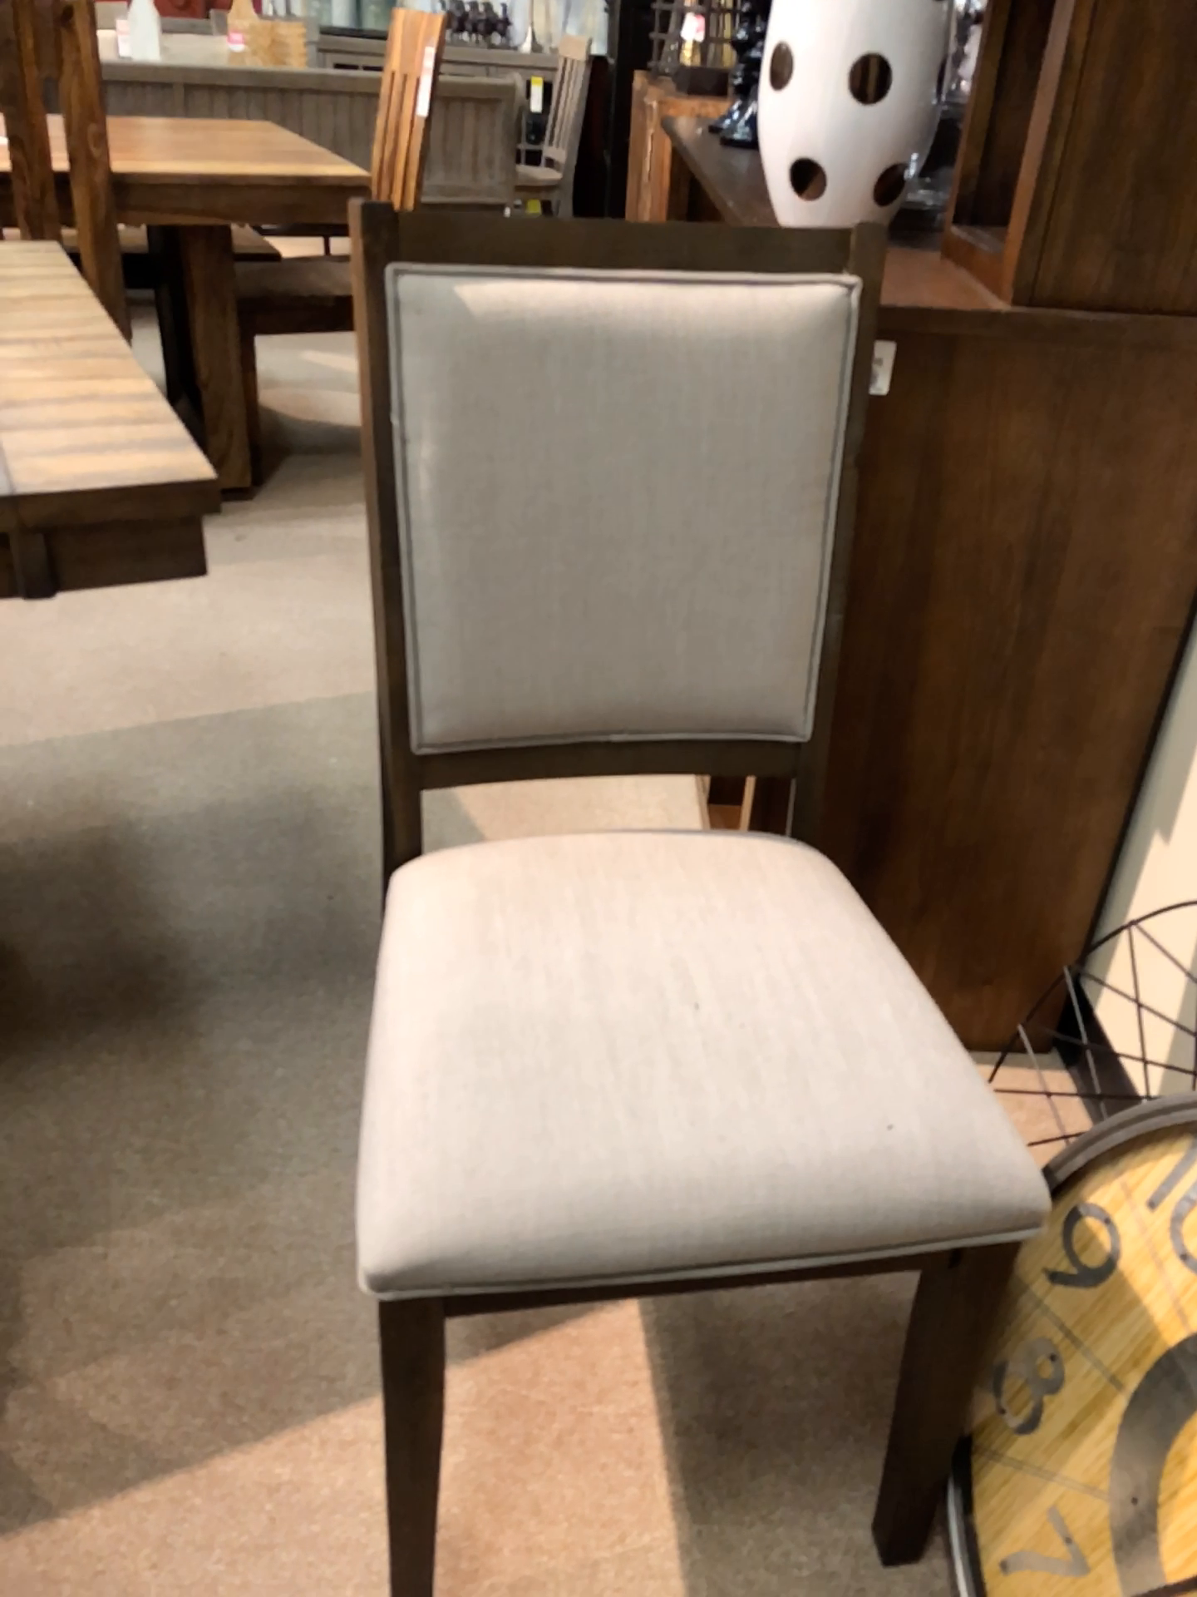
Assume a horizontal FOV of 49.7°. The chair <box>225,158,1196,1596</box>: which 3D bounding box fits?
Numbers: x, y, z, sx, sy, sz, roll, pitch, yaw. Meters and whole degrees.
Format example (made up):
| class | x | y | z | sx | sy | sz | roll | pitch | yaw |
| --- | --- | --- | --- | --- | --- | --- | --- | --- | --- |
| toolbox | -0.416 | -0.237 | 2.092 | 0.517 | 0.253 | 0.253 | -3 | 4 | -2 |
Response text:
| class | x | y | z | sx | sy | sz | roll | pitch | yaw |
| --- | --- | --- | --- | --- | --- | --- | --- | --- | --- |
| chair | 0.023 | 0.076 | 0.955 | 0.460 | 0.924 | 0.493 | -2 | 31 | -10 |
